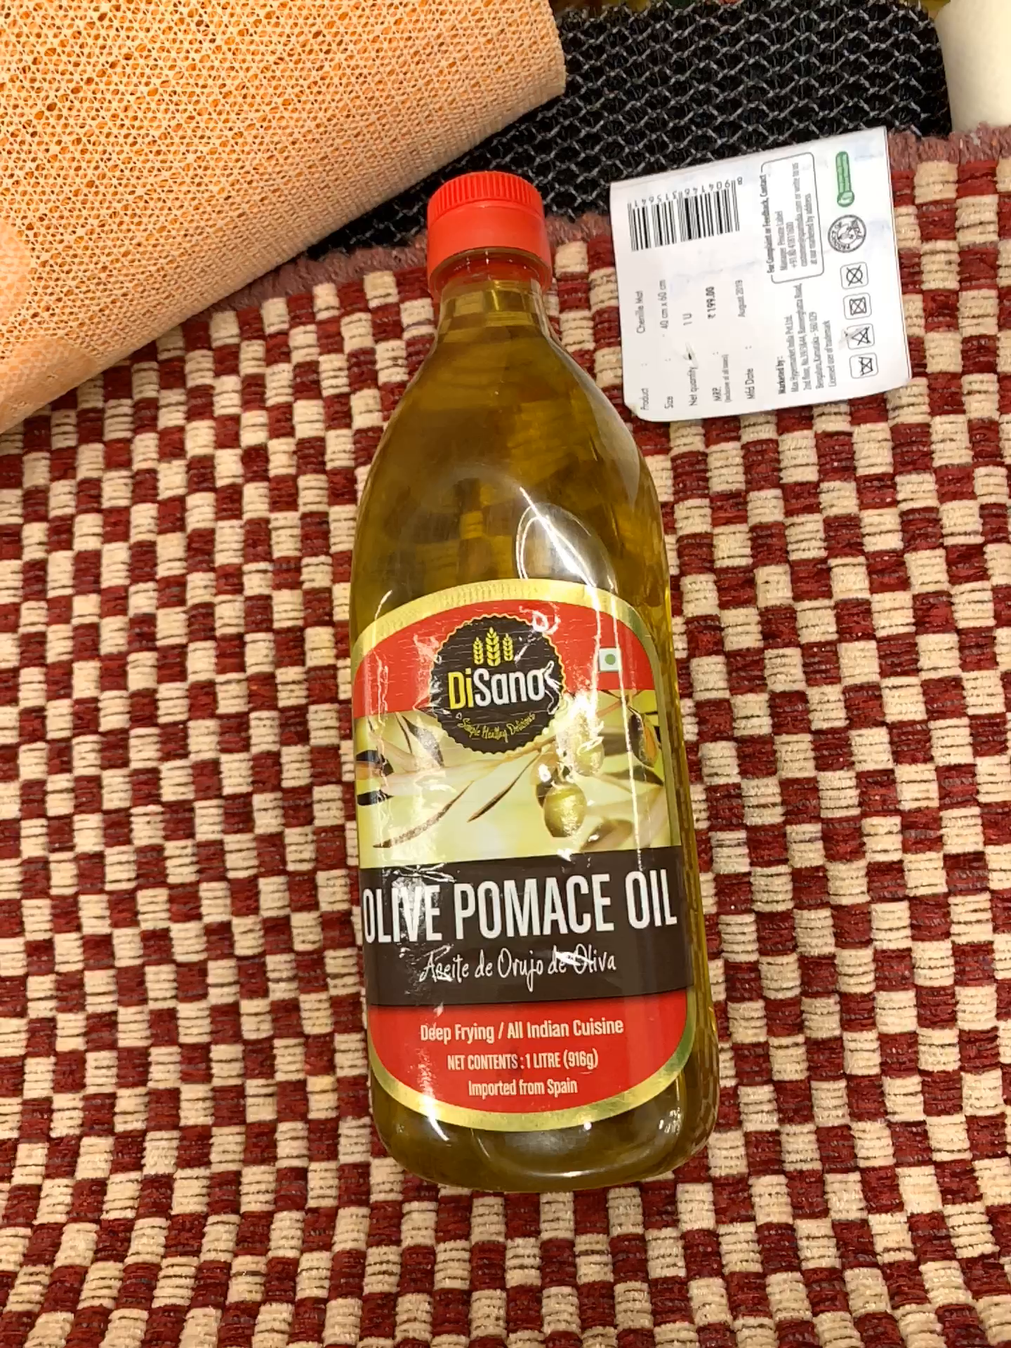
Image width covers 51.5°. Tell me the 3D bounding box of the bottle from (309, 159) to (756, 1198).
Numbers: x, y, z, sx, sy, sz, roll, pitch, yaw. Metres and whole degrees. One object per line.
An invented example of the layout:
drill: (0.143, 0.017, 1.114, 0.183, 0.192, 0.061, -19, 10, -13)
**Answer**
bottle: (0.005, 0.001, 0.253, 0.080, 0.080, 0.210, -4, 81, 5)
